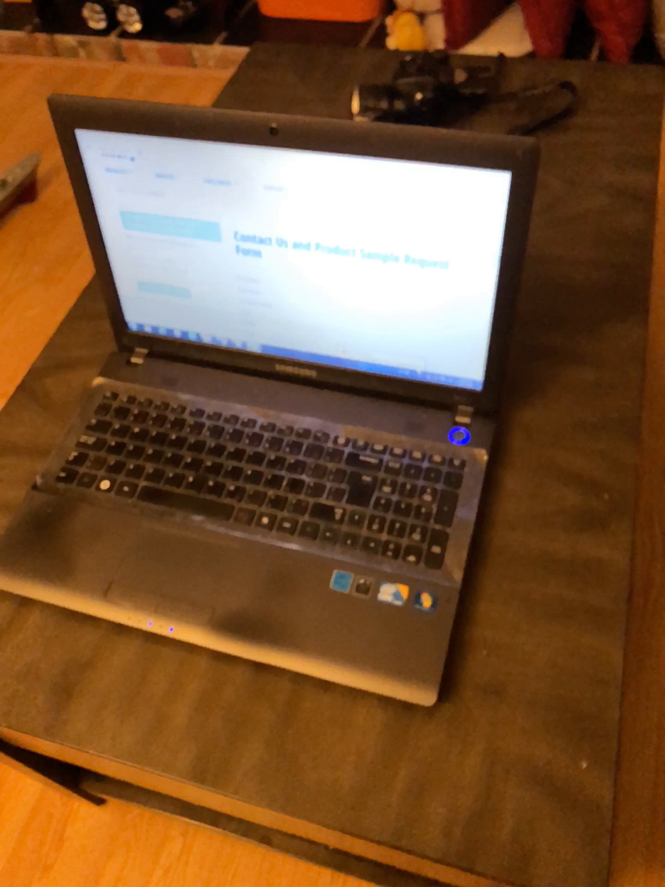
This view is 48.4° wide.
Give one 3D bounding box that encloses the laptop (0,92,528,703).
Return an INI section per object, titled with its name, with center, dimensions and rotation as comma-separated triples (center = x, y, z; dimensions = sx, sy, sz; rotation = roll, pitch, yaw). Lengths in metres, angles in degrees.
[laptop]
center = -0.075, -0.047, 0.542
dimensions = 0.367, 0.231, 0.309
rotation = 11, 56, 13
